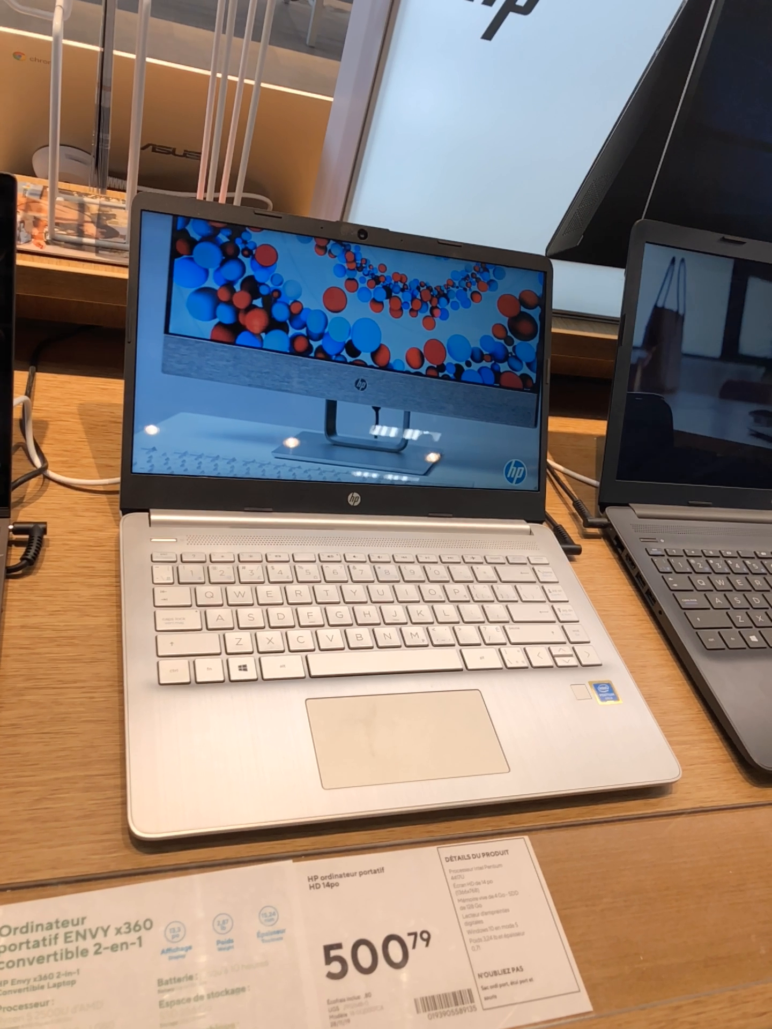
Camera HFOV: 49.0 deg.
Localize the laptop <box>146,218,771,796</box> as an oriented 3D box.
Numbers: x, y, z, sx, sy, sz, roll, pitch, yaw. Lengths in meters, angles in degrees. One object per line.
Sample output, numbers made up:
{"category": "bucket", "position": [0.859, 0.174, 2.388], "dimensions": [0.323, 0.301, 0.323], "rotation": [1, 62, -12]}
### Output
{"category": "laptop", "position": [0.013, -0.029, 0.556], "dimensions": [0.308, 0.167, 0.347], "rotation": [1, 40, -18]}
